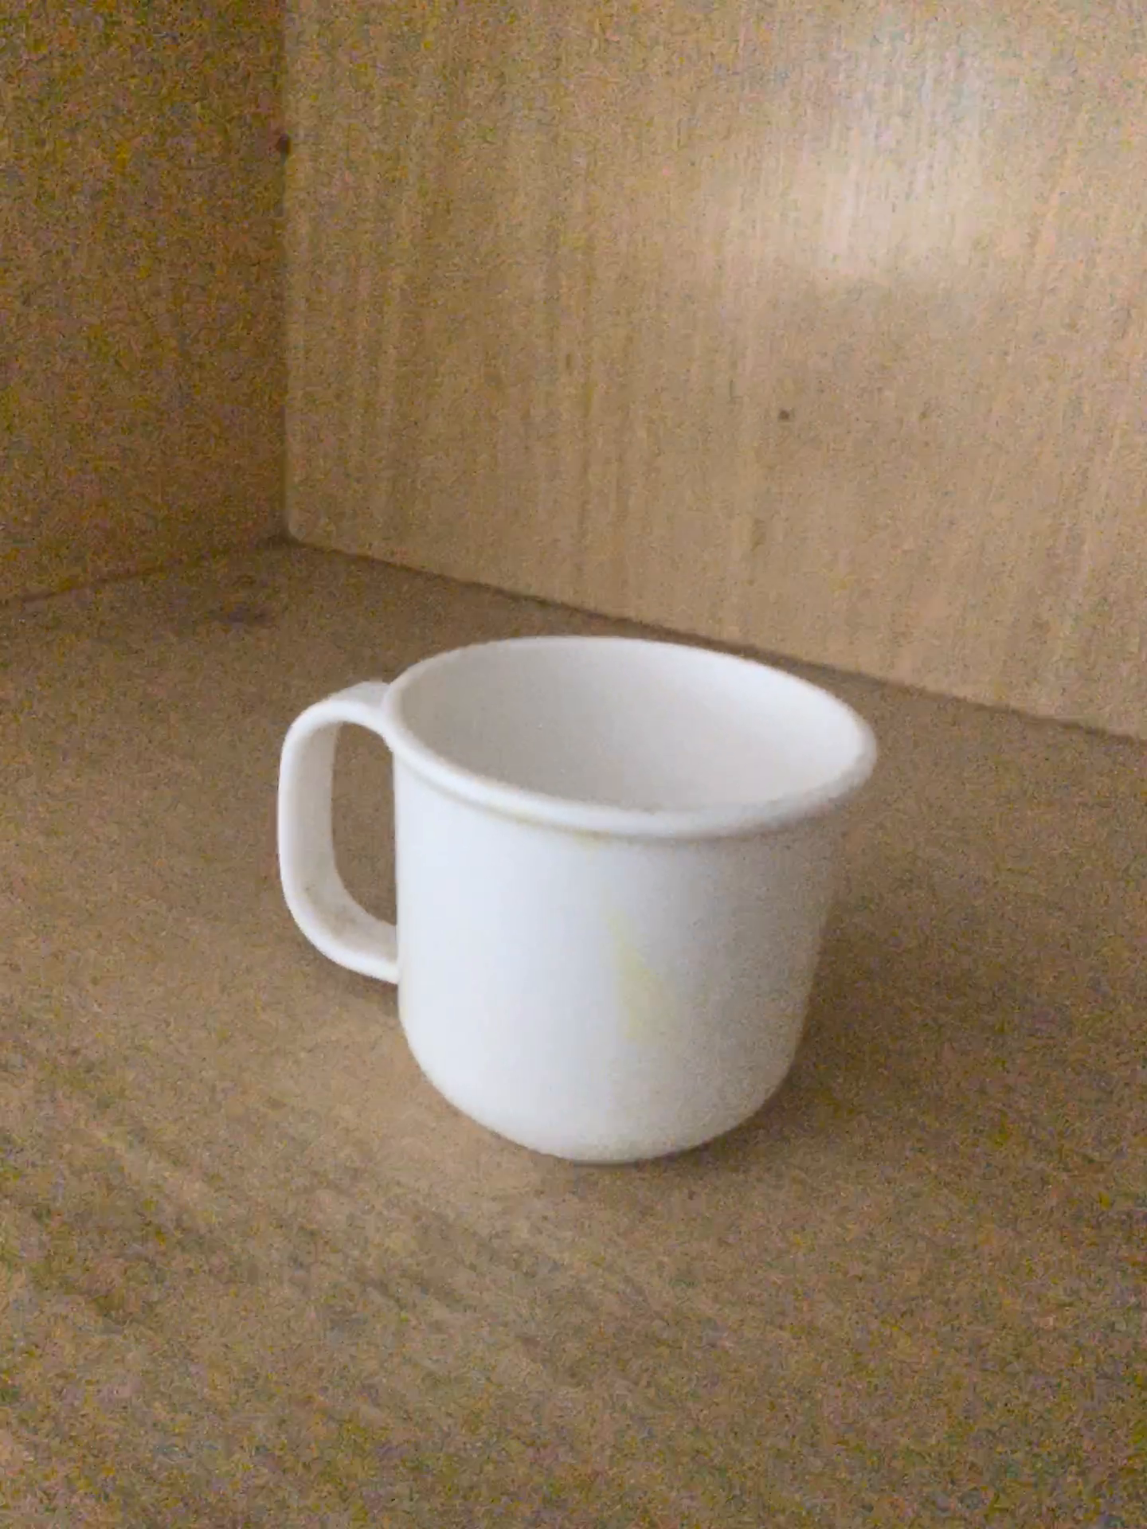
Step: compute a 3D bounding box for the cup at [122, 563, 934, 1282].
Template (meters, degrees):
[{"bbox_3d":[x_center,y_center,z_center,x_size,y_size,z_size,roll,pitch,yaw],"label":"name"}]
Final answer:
[{"bbox_3d":[-0.004,0.016,0.208,0.110,0.069,0.081,13,24,17],"label":"cup"}]
